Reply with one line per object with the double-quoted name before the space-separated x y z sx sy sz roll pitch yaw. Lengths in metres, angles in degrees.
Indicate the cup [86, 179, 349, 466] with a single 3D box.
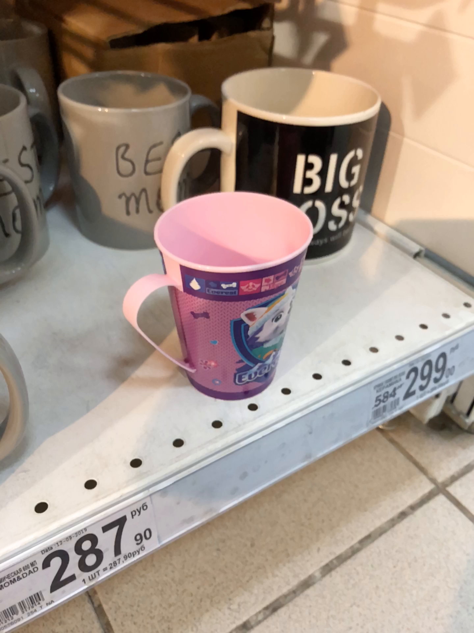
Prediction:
"cup" -0.011 -0.002 0.300 0.109 0.104 0.078 -27 48 -33
